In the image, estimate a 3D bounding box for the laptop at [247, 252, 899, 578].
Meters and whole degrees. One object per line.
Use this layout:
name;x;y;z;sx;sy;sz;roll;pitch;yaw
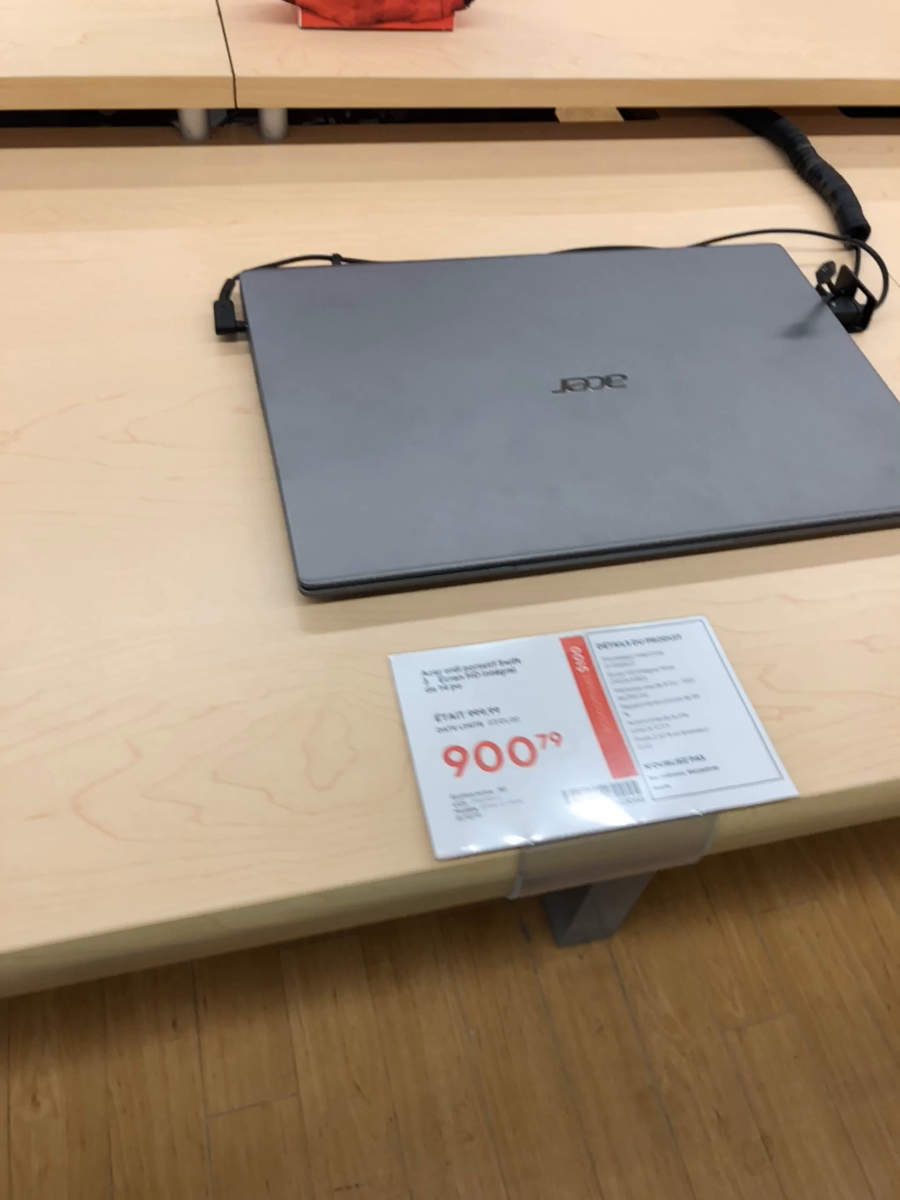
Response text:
laptop;0.068;-0.106;0.485;0.306;0.001;0.201;-7;53;-13
